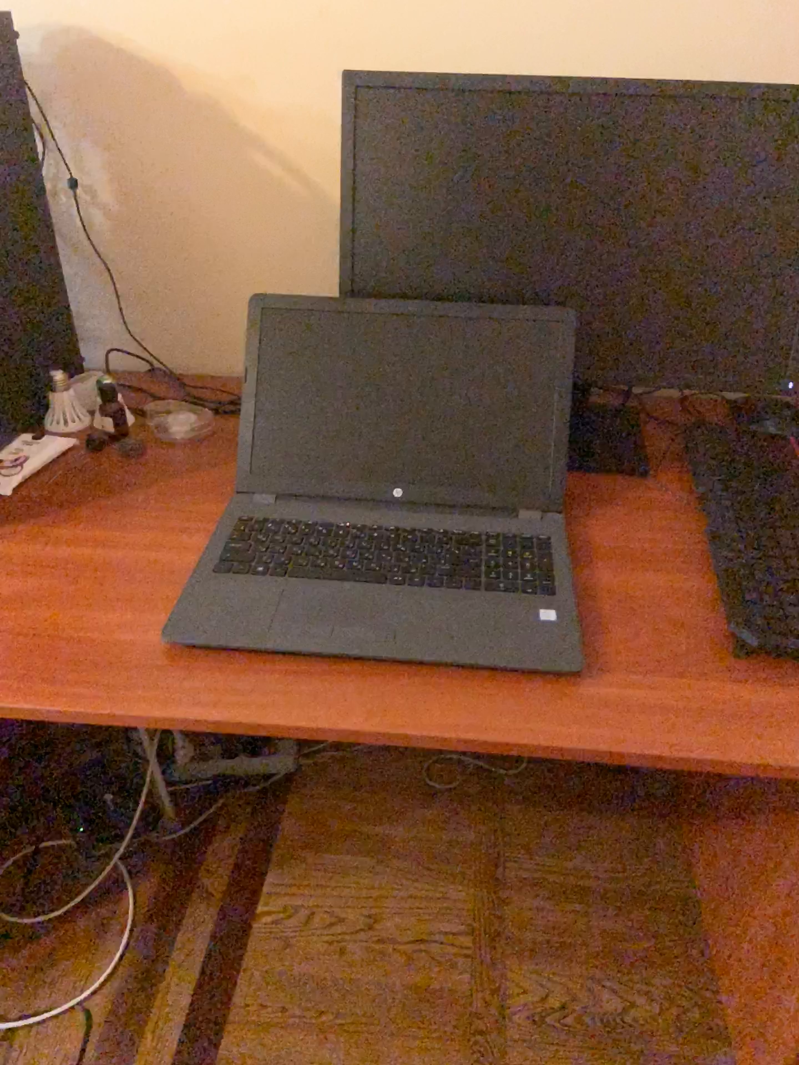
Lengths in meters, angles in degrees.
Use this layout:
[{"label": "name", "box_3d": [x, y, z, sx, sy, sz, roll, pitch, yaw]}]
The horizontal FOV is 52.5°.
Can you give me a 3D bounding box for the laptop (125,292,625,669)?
[{"label": "laptop", "box_3d": [-0.006, -0.081, 0.813, 0.372, 0.188, 0.394, 4, 33, 3]}]
